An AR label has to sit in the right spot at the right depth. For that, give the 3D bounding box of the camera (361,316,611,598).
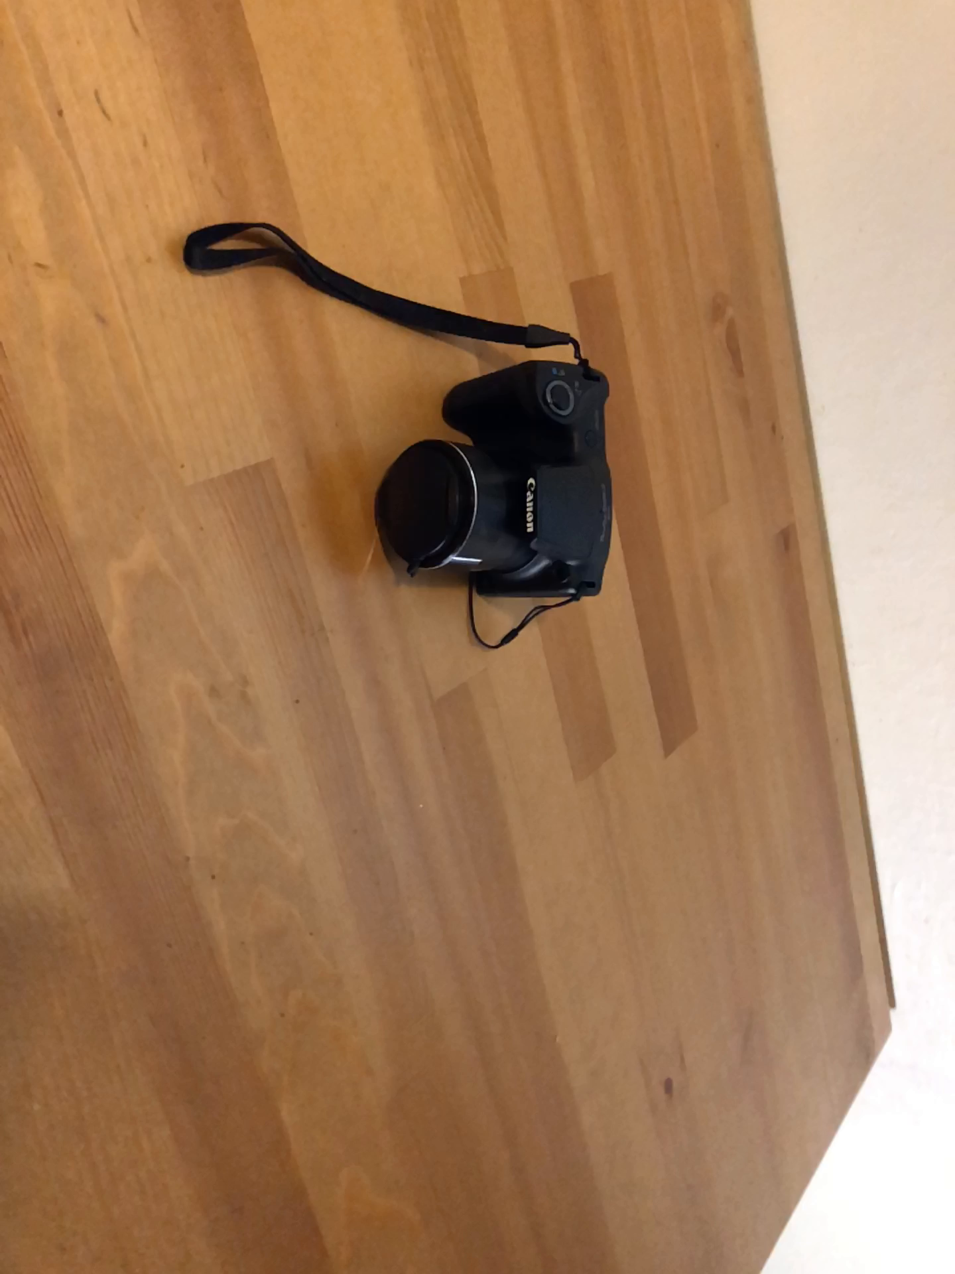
[{"bbox_3d":[0.006,-0.072,0.469,0.097,0.062,0.109,-2,93,-48],"label":"camera"}]
